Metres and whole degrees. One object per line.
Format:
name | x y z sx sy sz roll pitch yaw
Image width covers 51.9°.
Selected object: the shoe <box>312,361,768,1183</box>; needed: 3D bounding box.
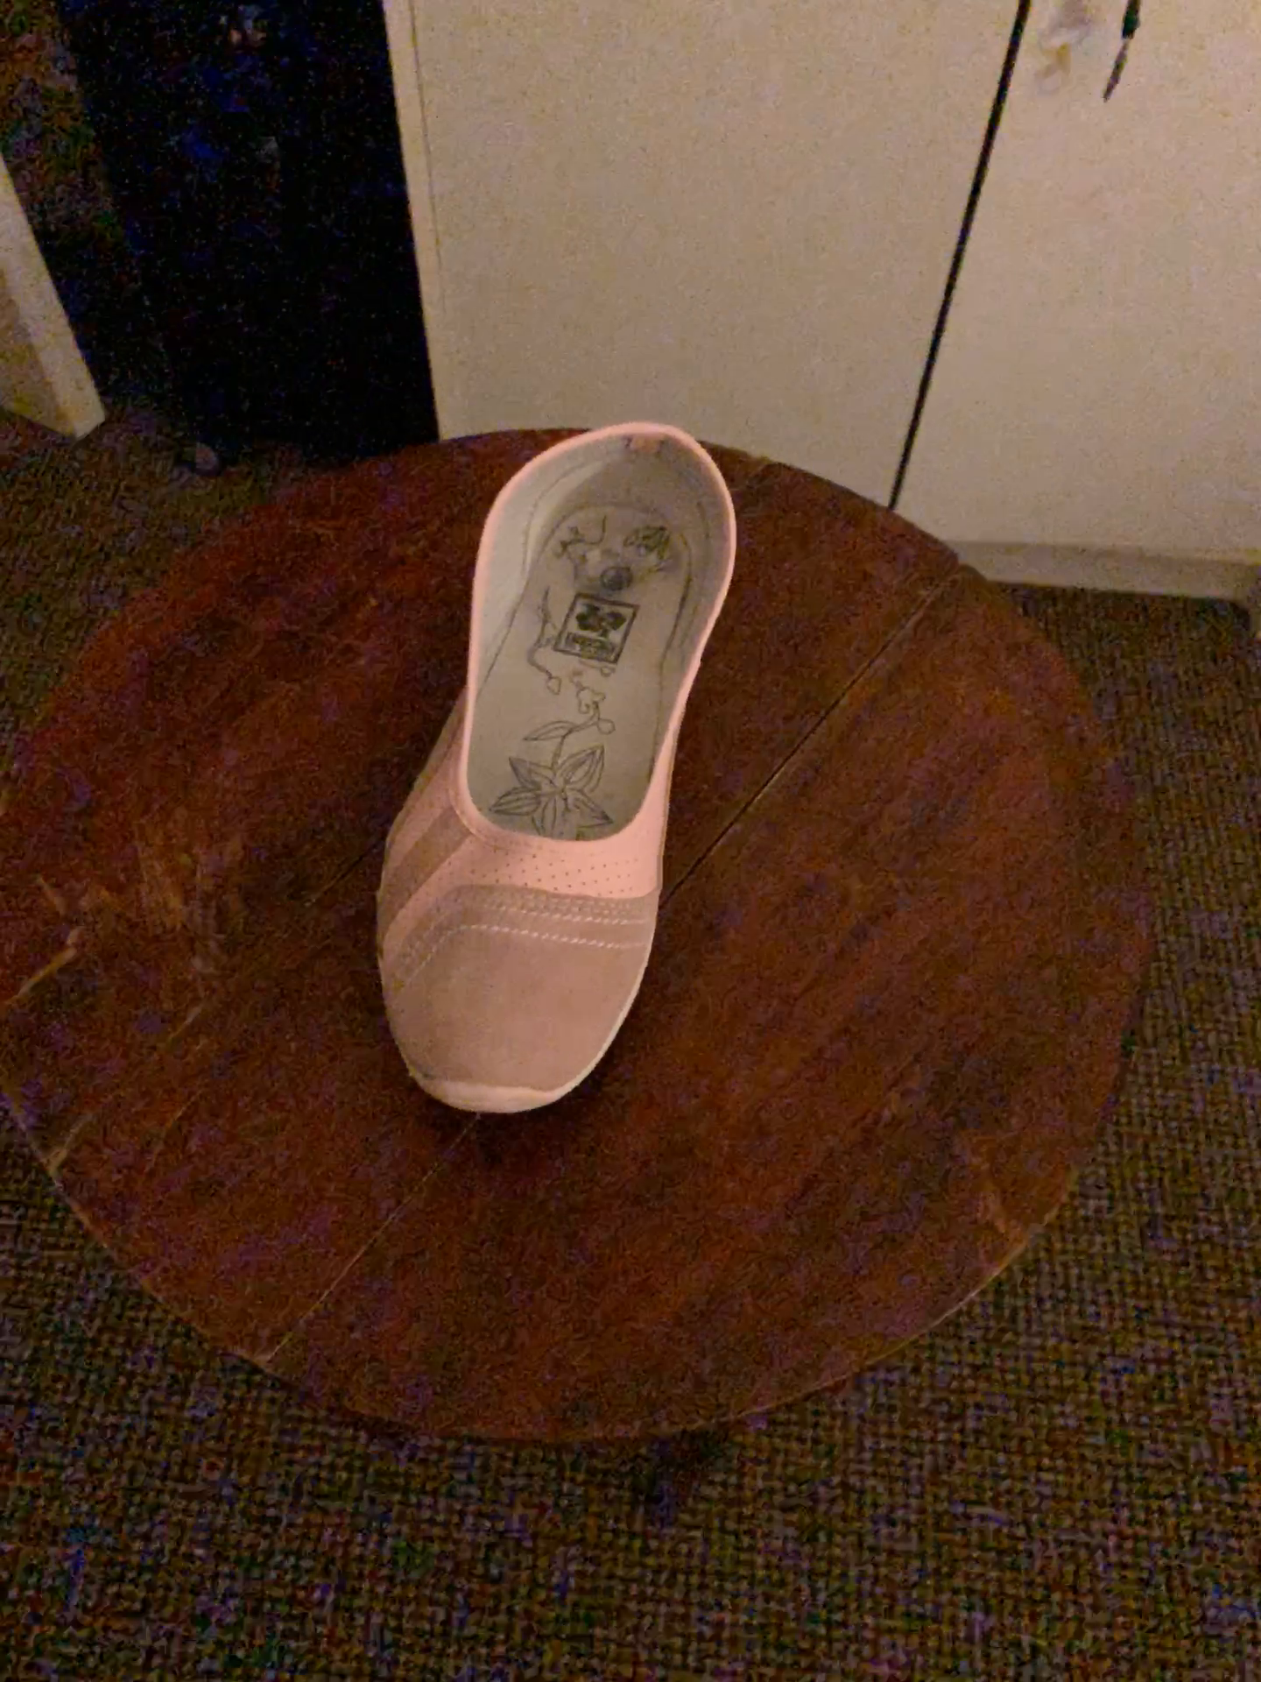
shoe | -0.016 -0.038 0.425 0.090 0.069 0.272 8 57 4
